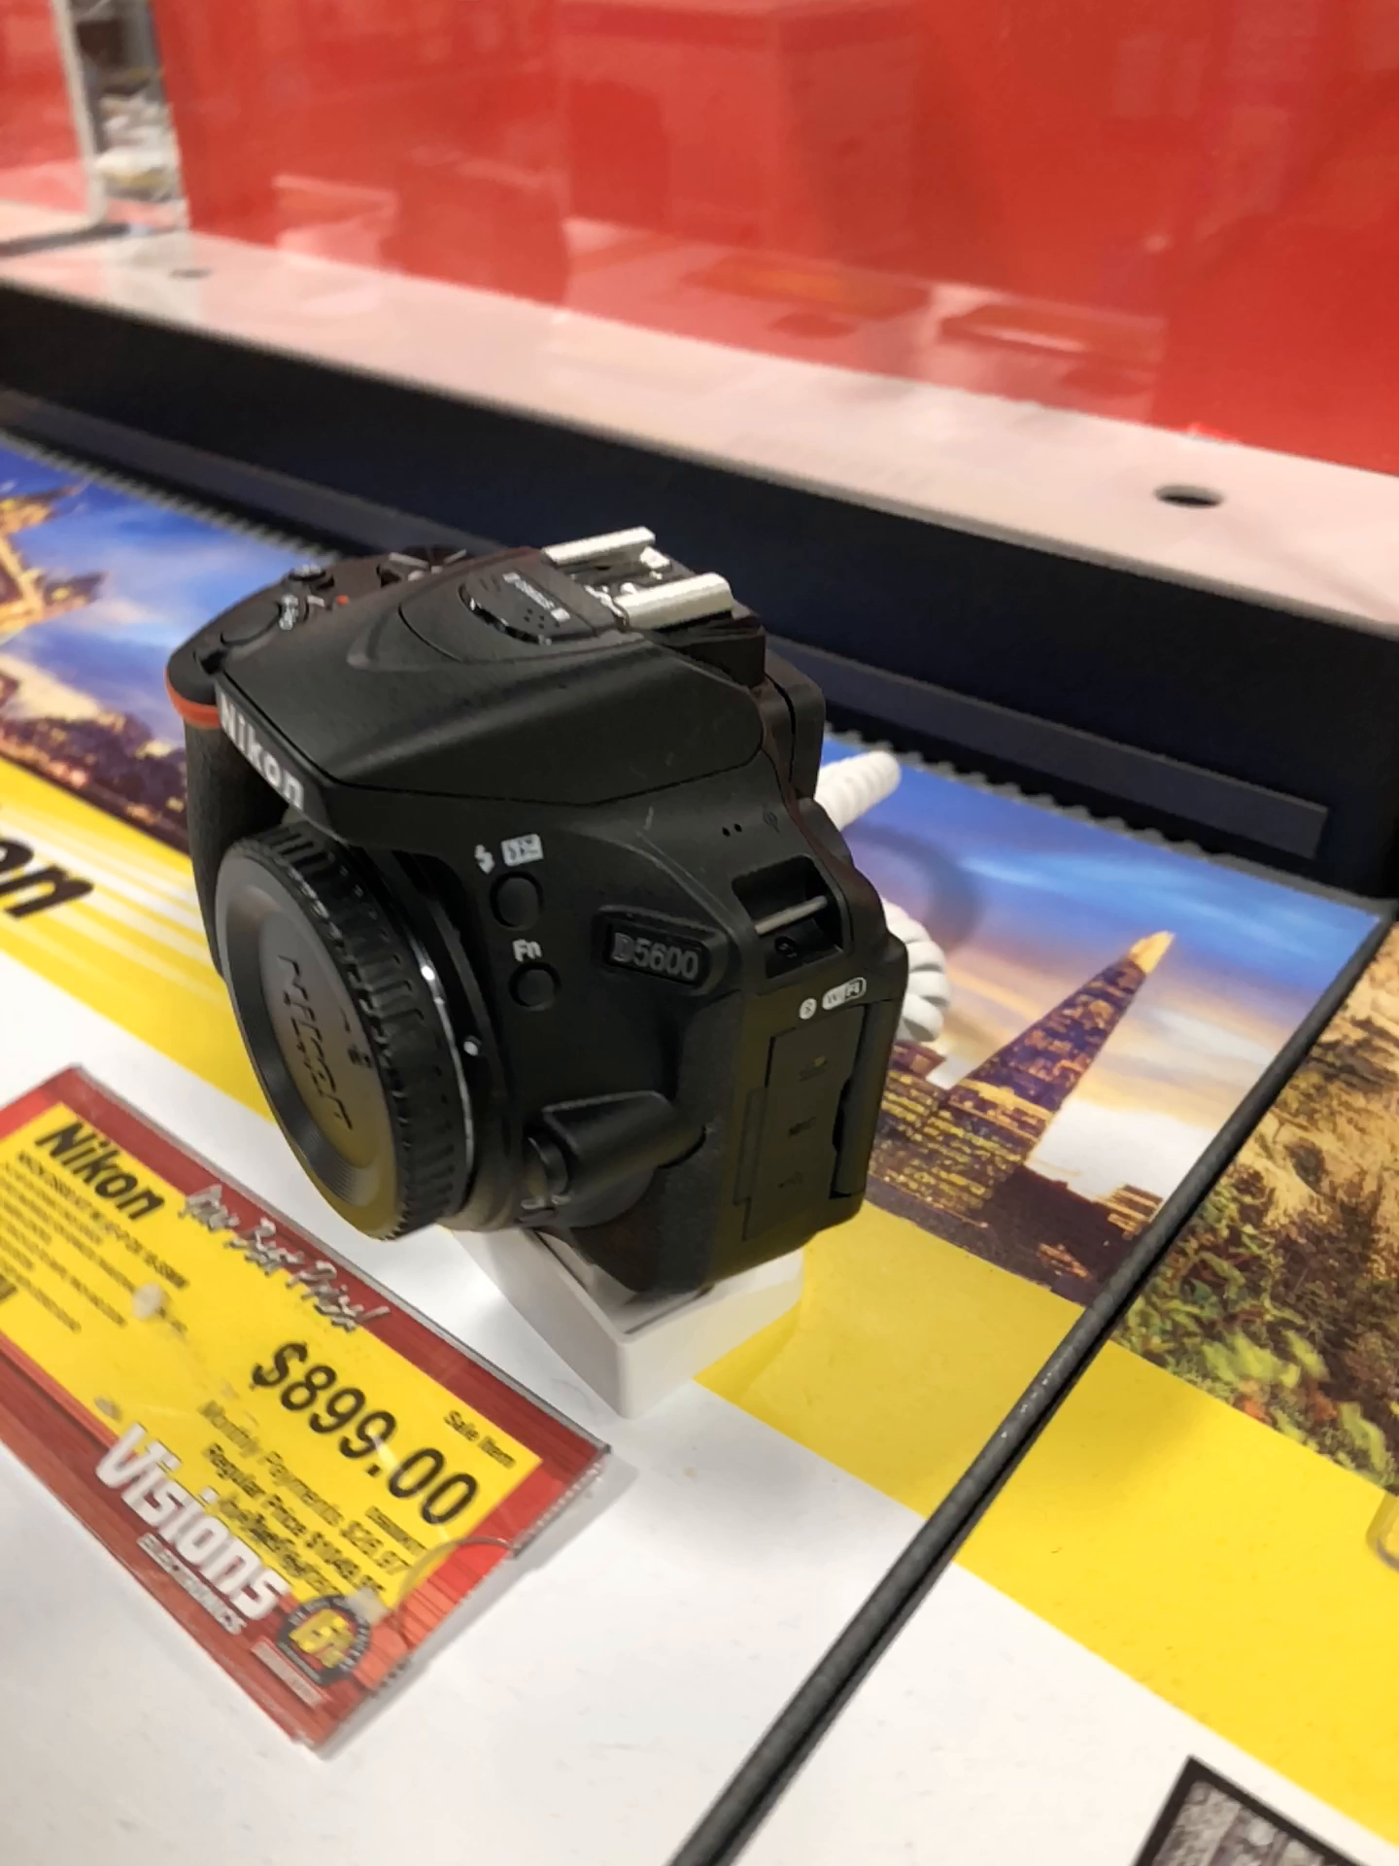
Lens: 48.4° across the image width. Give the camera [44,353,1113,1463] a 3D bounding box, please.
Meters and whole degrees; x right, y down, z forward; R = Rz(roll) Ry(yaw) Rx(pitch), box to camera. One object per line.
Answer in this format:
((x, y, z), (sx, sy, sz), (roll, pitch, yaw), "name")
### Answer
((-0.028, -0.018, 0.233), (0.080, 0.089, 0.141), (-19, 42, -31), "camera")
